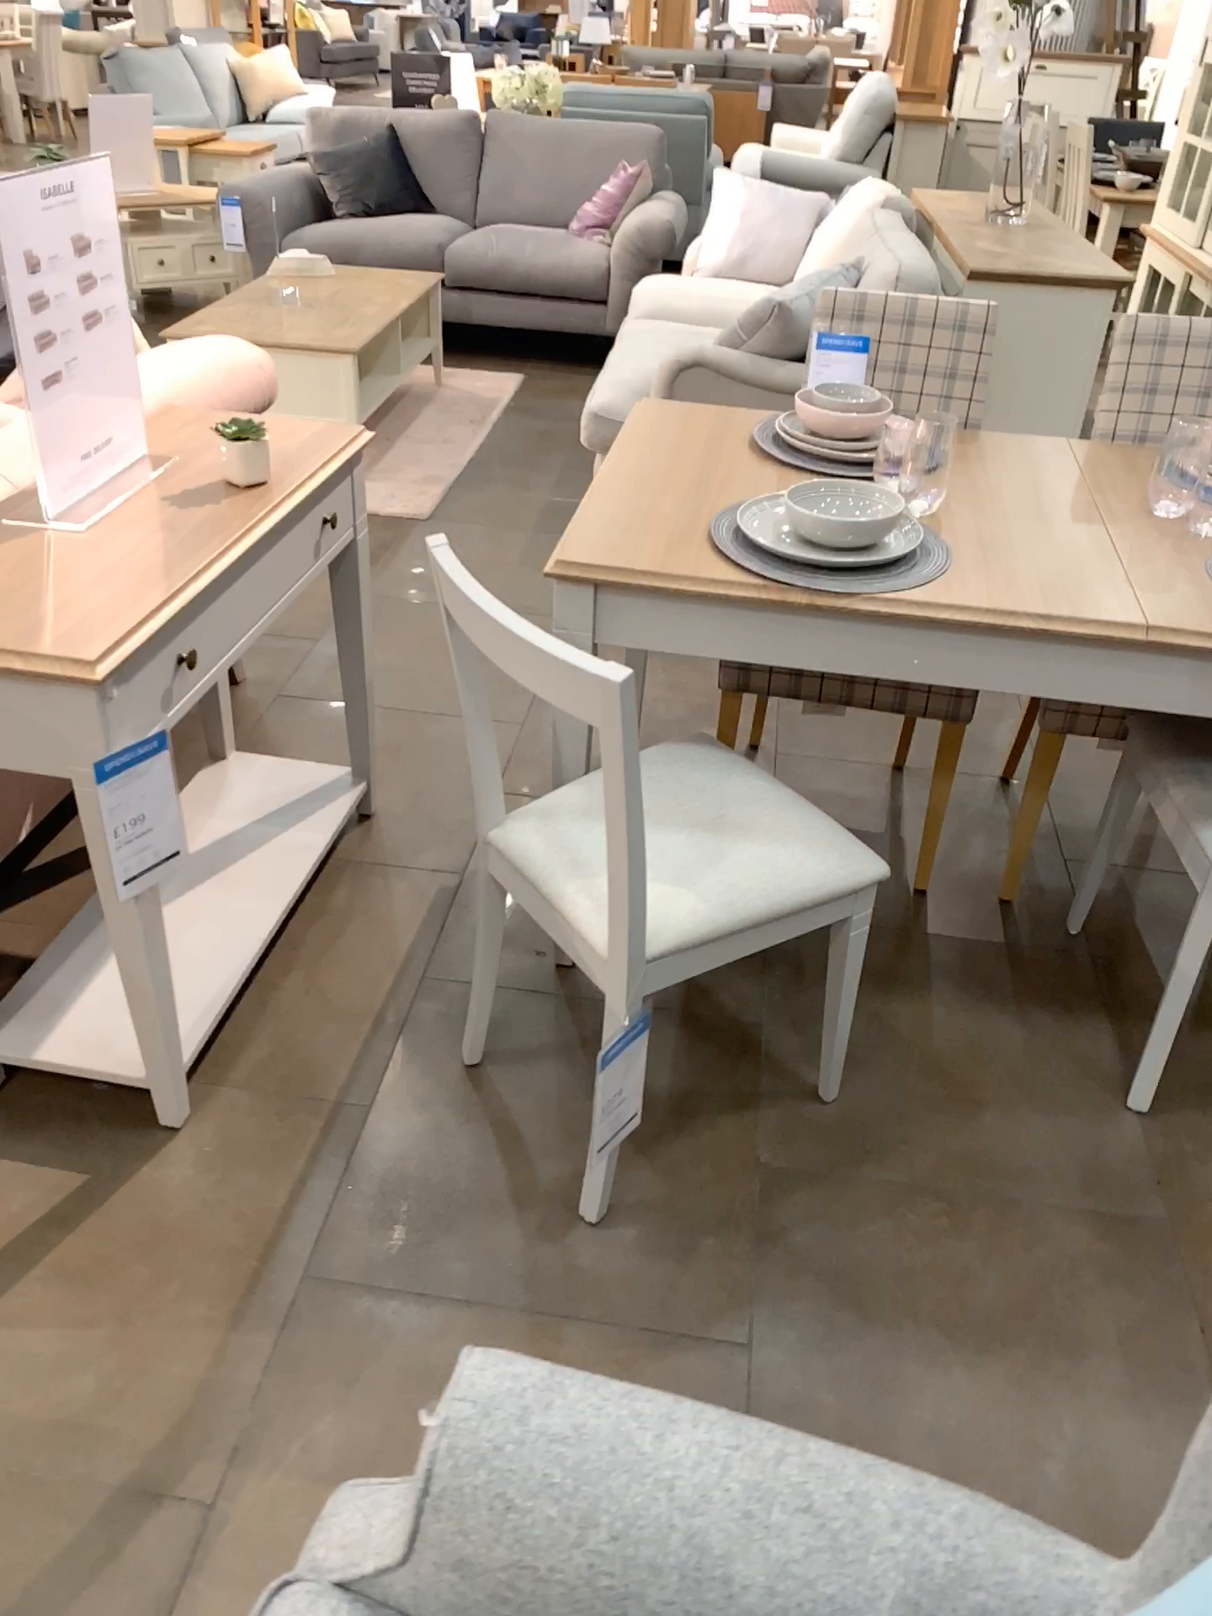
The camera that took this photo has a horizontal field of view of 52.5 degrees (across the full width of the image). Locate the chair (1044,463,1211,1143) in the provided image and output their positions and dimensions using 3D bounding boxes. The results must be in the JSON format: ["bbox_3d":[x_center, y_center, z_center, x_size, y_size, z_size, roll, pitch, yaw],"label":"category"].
[{"bbox_3d":[1.026,-0.012,1.849,0.430,0.817,0.540,6,33,4],"label":"chair"}]

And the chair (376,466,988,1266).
[{"bbox_3d":[0.063,0.055,1.636,0.536,0.817,0.463,-19,39,-30],"label":"chair"}]
